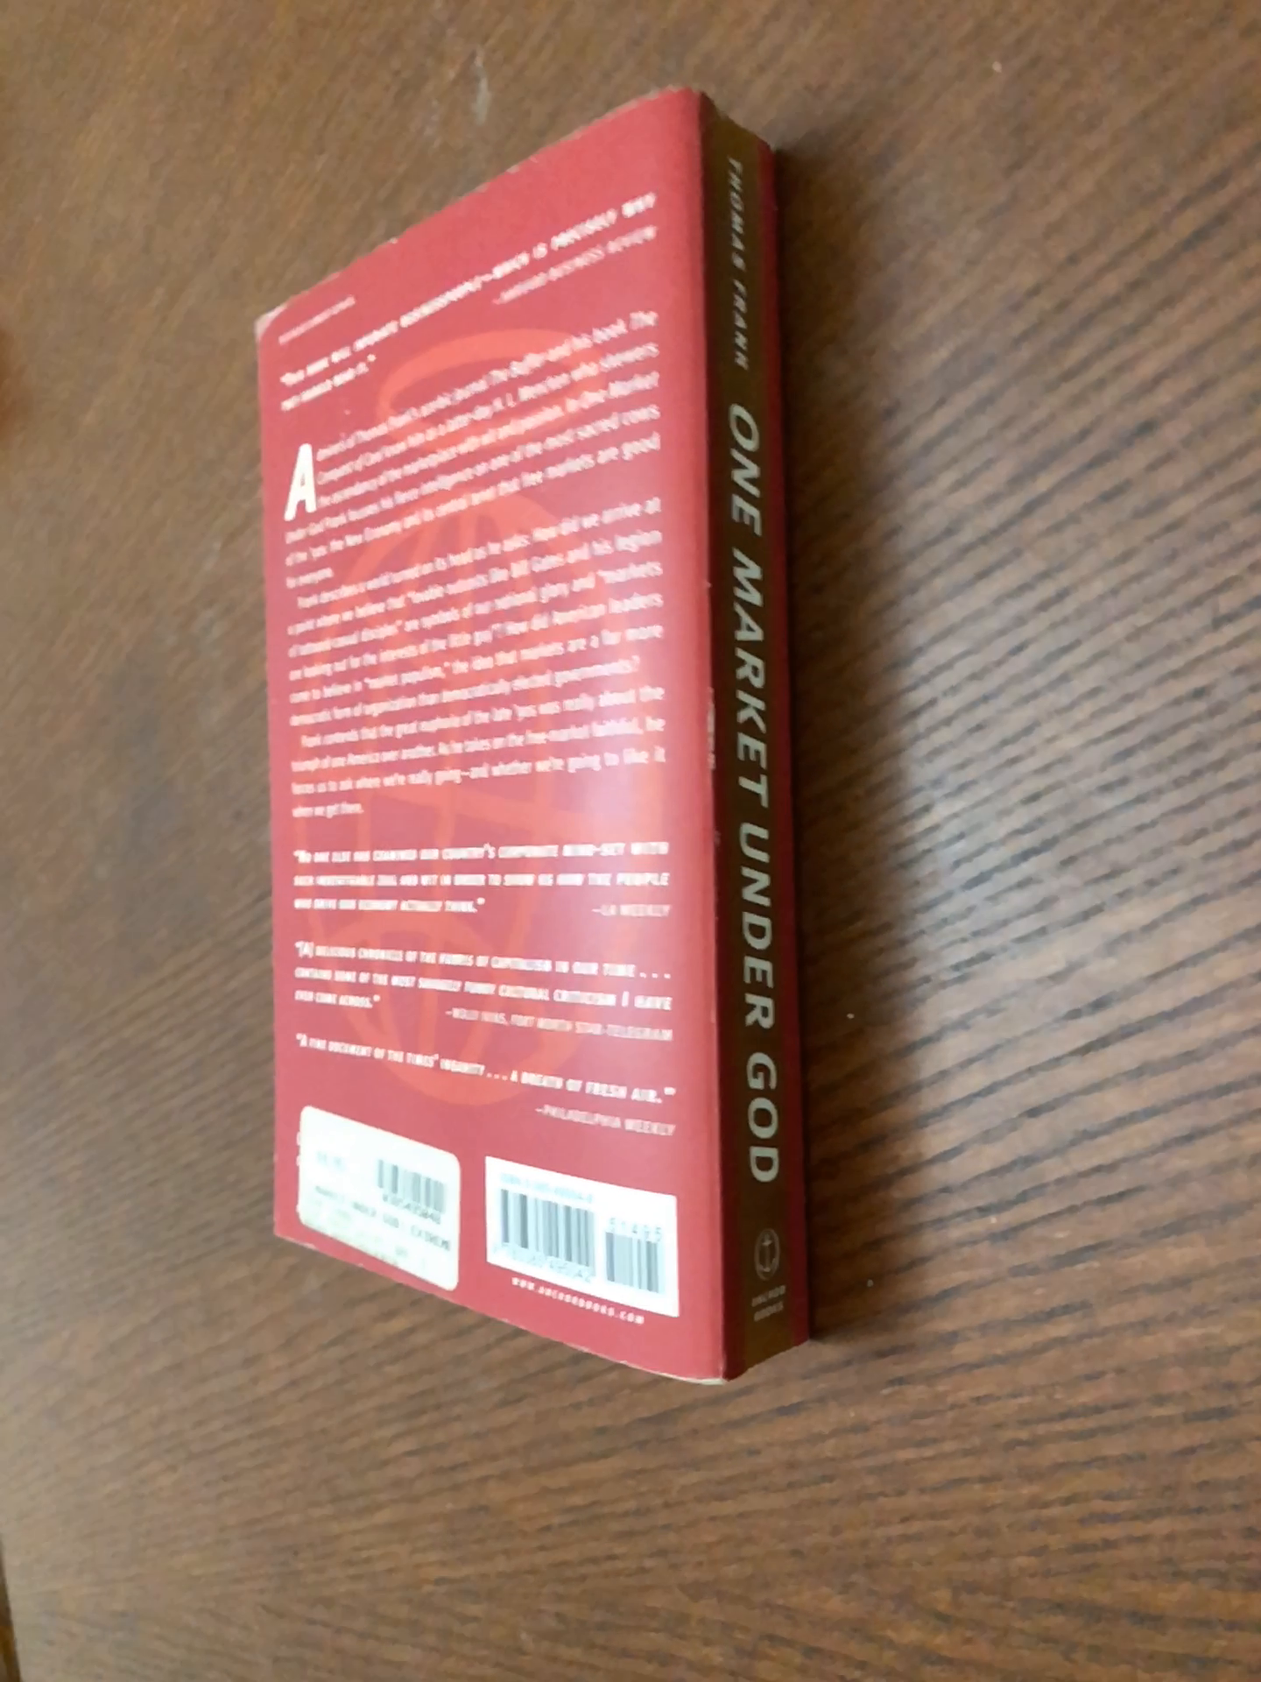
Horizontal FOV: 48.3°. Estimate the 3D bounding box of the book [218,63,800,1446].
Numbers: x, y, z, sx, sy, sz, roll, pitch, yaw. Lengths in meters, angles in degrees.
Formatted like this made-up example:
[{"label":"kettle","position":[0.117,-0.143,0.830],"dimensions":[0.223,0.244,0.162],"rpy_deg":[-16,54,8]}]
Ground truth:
[{"label":"book","position":[-0.033,-0.013,0.275],"dimensions":[0.141,0.030,0.210],"rpy_deg":[-2,89,47]}]
